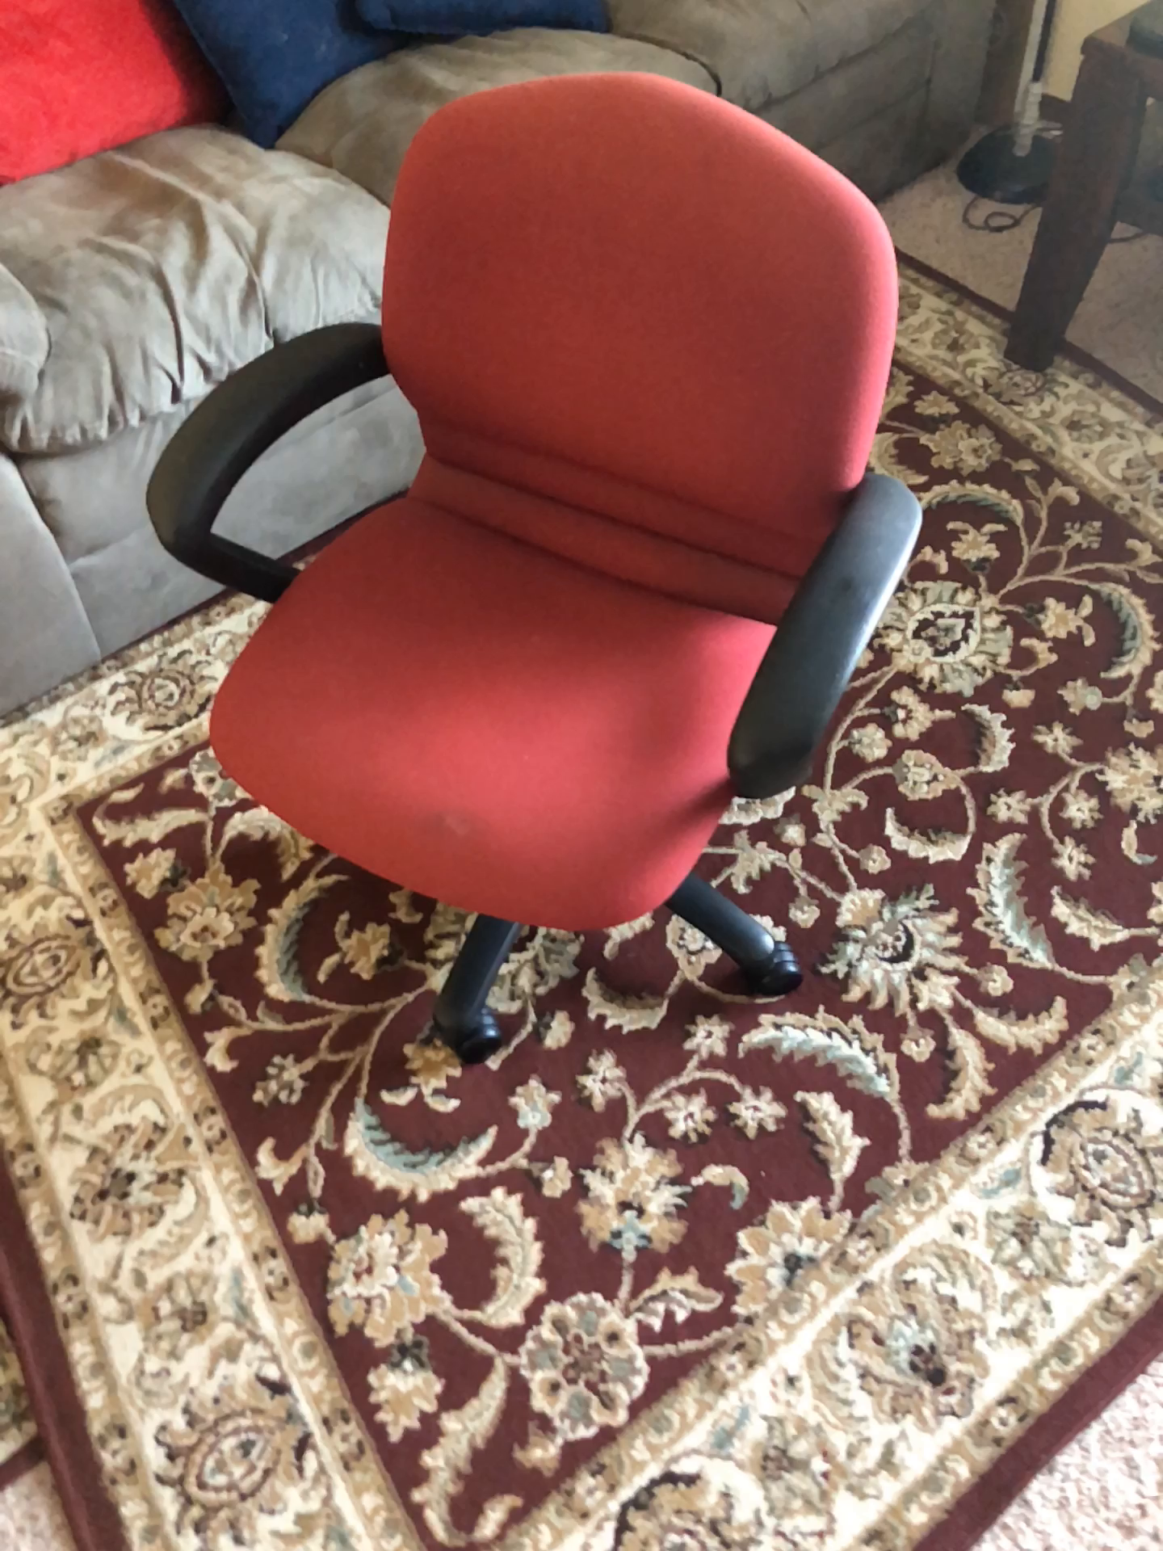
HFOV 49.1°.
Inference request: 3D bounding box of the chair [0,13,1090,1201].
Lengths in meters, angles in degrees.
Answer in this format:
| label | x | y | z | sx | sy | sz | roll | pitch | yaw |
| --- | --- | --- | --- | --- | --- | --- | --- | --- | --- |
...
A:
| label | x | y | z | sx | sy | sz | roll | pitch | yaw |
| --- | --- | --- | --- | --- | --- | --- | --- | --- | --- |
| chair | -0.033 | -0.152 | 1.208 | 0.650 | 0.729 | 0.620 | 24 | 57 | 21 |
